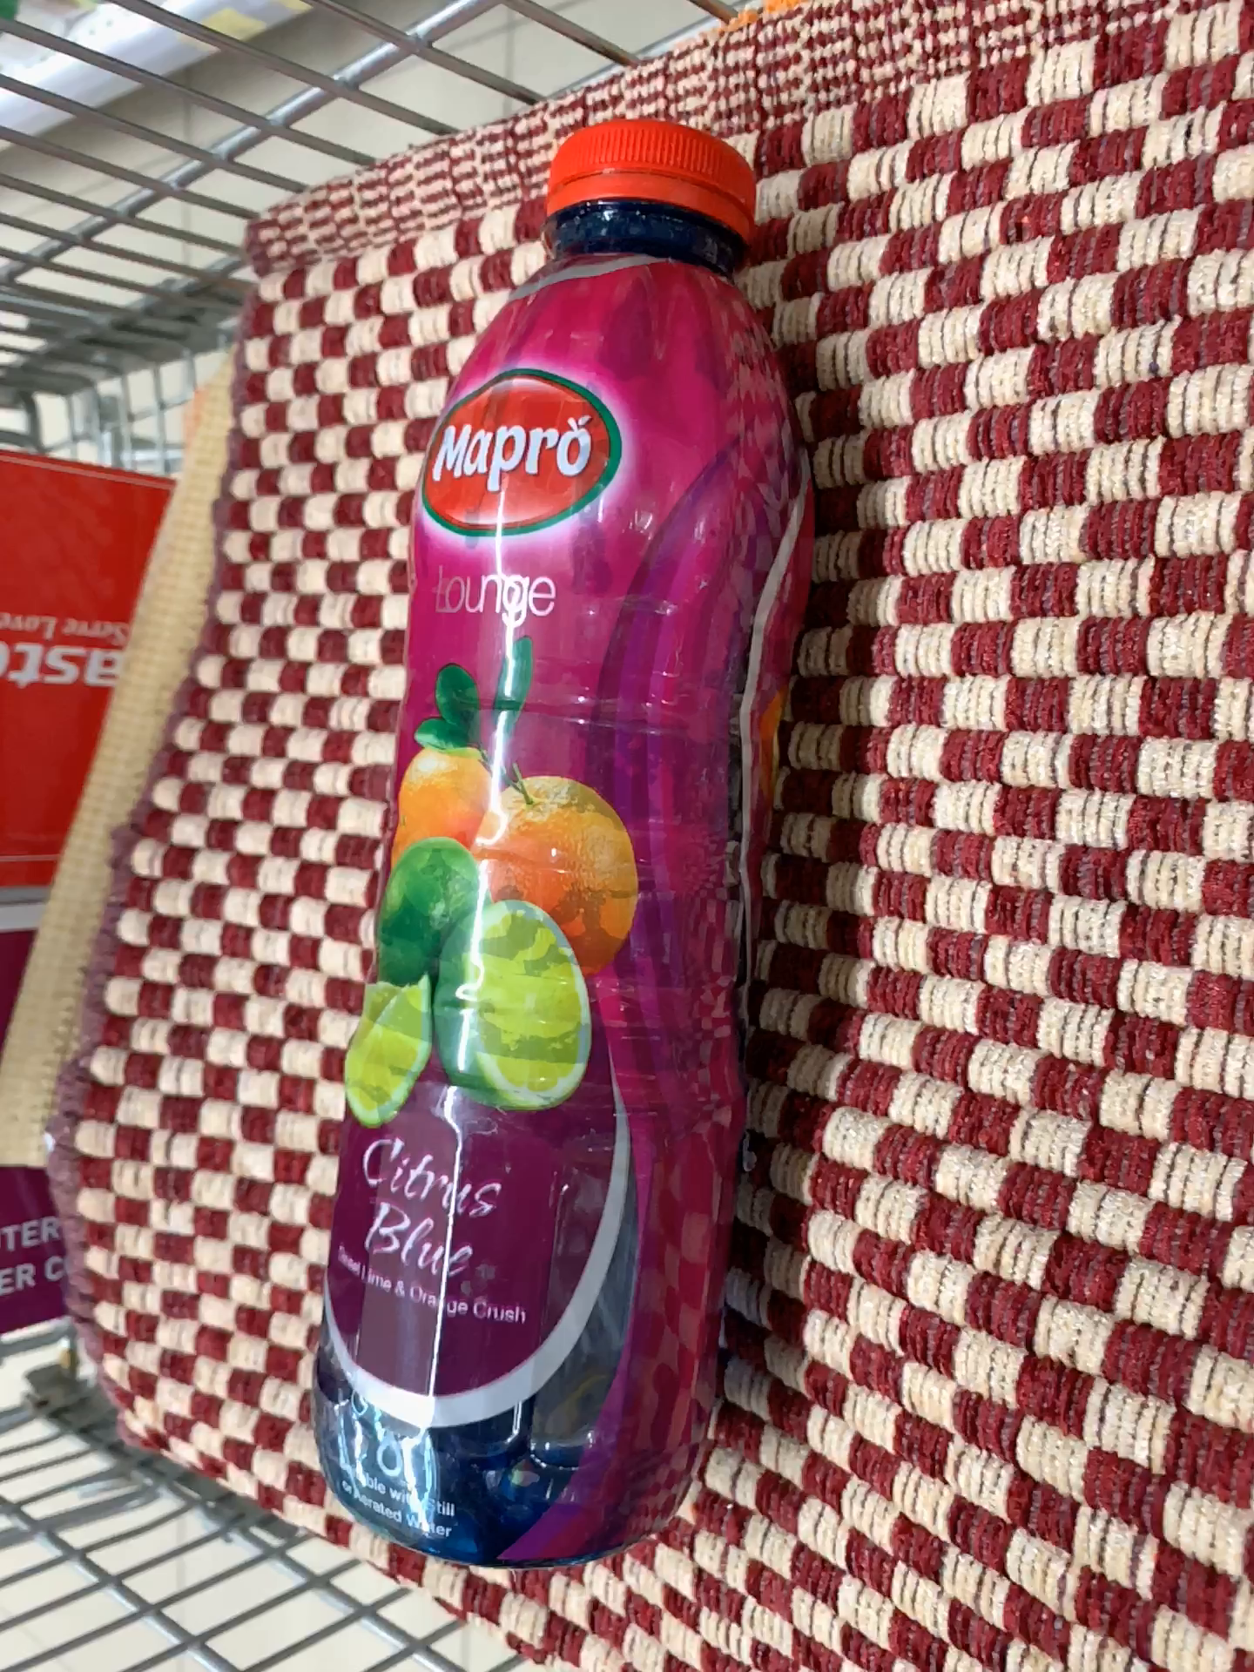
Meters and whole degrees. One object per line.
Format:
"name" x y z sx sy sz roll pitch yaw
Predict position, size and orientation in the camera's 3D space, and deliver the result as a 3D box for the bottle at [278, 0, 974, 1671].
"bottle" -0.002 0.005 0.236 0.090 0.070 0.250 7 98 30
